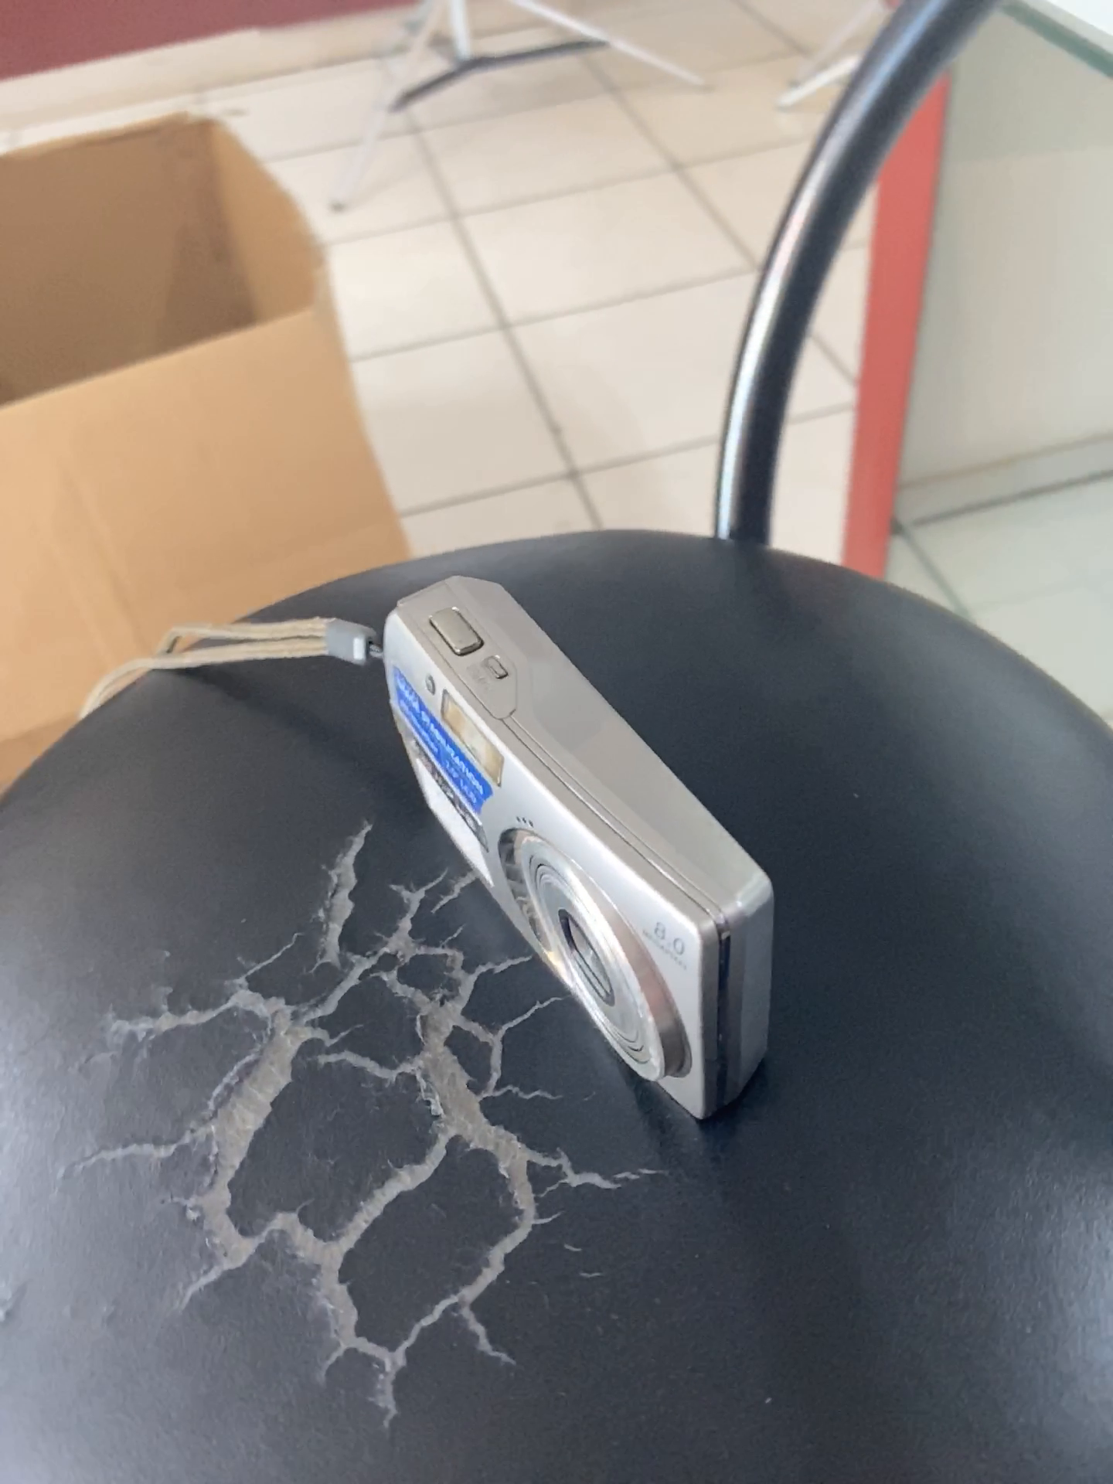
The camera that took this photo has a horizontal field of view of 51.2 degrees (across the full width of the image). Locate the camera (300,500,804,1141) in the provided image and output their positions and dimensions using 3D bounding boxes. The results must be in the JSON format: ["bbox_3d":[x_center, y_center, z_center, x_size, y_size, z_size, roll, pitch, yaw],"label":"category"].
[{"bbox_3d":[-0.003,0.010,0.206,0.030,0.060,0.100,-30,50,-18],"label":"camera"}]
